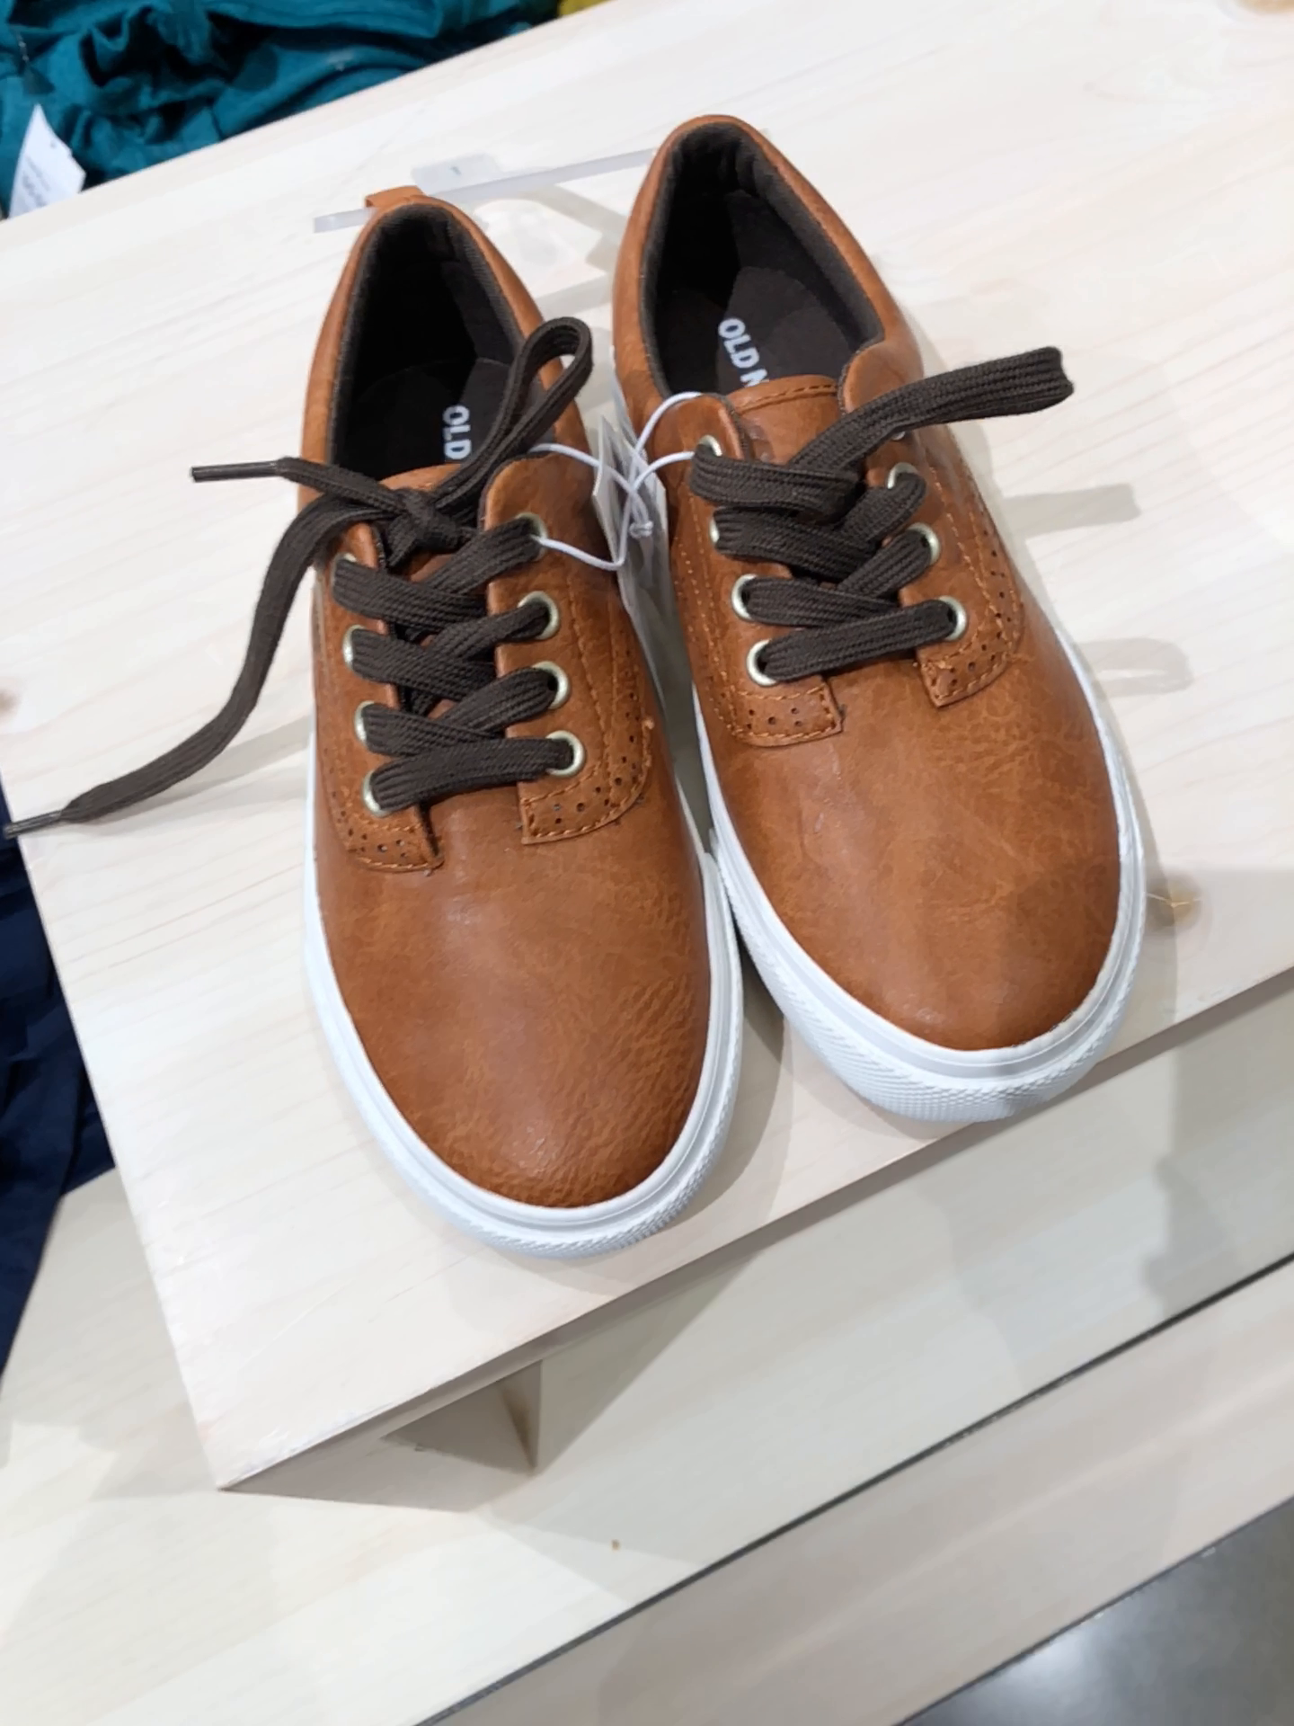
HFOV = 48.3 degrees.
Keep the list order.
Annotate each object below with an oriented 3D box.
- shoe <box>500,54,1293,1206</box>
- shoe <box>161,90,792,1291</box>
[{"bbox_3d":[0.039,-0.052,0.294,0.090,0.080,0.210,-14,64,-2],"label":"shoe"},{"bbox_3d":[-0.038,-0.039,0.297,0.090,0.090,0.220,-10,63,-1],"label":"shoe"}]
